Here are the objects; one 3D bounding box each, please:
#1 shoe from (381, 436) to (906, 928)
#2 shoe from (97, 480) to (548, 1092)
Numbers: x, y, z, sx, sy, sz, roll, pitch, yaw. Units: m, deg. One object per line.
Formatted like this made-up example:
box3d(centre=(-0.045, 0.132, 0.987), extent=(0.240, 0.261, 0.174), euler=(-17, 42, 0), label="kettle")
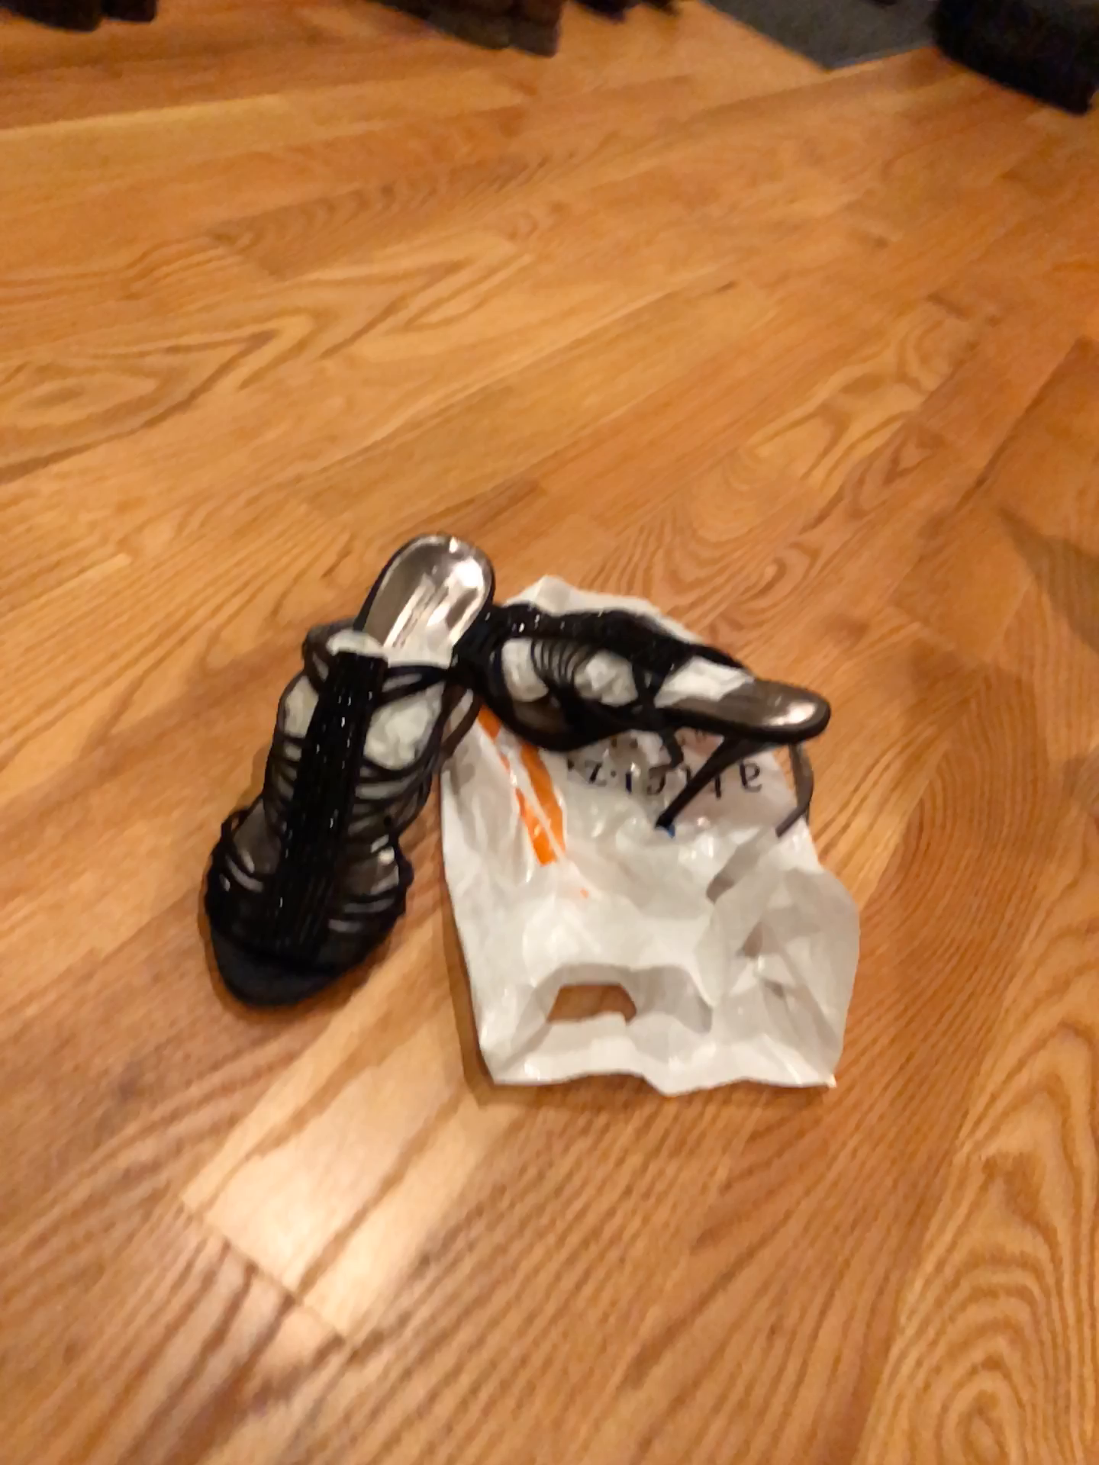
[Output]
box3d(centre=(0.040, -0.030, 0.597), extent=(0.217, 0.112, 0.092), euler=(37, 42, 15), label="shoe")
box3d(centre=(-0.084, 0.010, 0.495), extent=(0.090, 0.112, 0.219), euler=(22, 40, -3), label="shoe")
